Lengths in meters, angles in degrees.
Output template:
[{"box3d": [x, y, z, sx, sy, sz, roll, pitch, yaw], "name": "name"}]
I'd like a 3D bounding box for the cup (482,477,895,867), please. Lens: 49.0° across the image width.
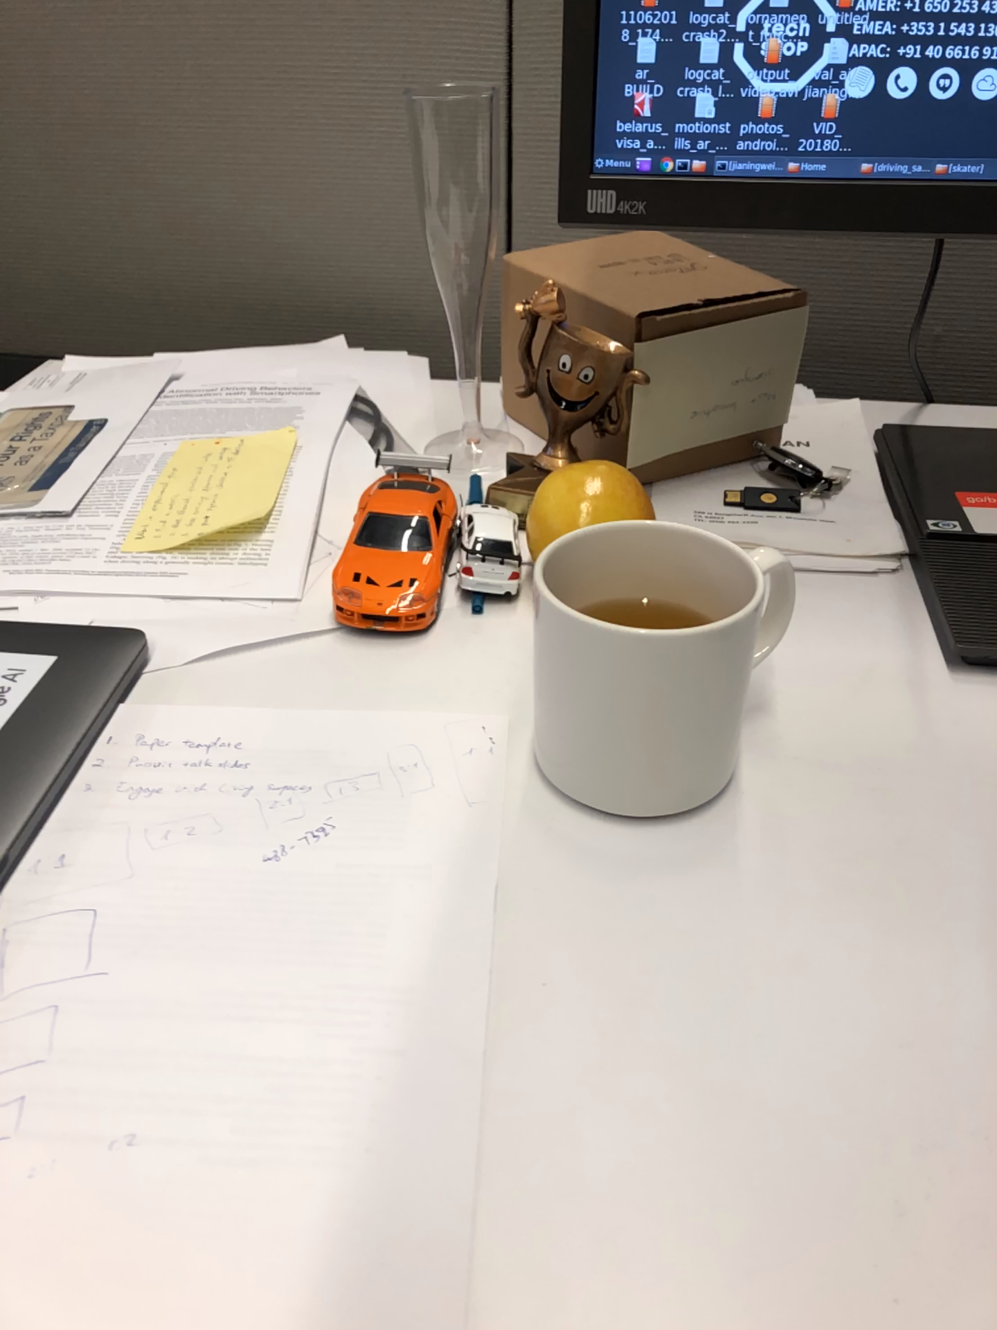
[{"box3d": [0.067, -0.003, 0.402, 0.120, 0.080, 0.080, -22, 40, -29], "name": "cup"}]
